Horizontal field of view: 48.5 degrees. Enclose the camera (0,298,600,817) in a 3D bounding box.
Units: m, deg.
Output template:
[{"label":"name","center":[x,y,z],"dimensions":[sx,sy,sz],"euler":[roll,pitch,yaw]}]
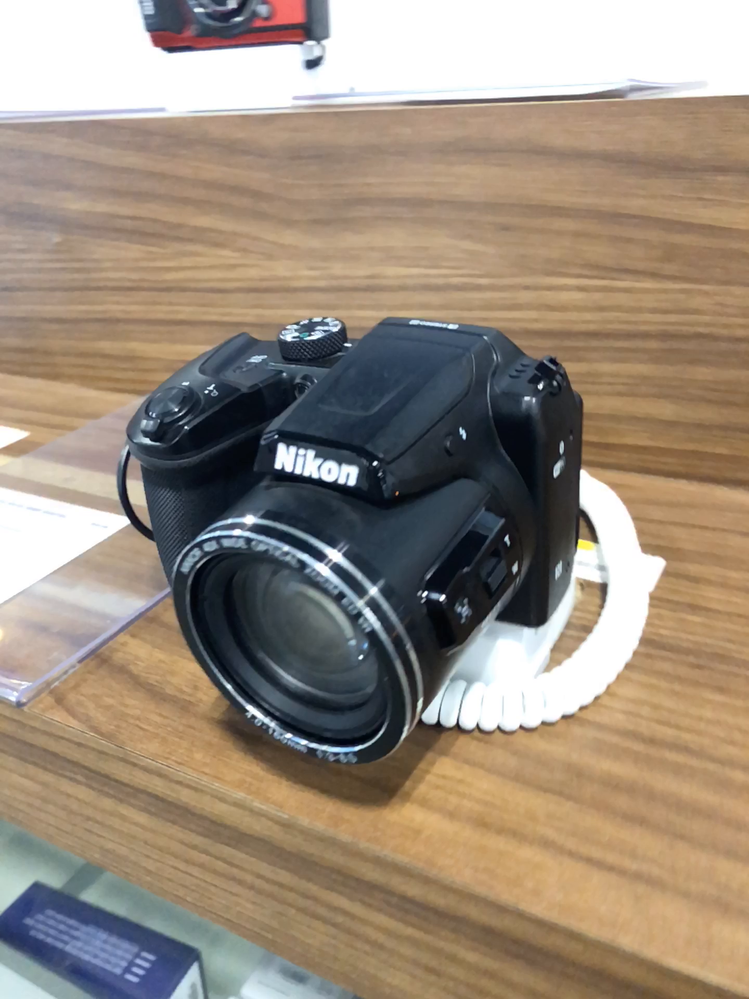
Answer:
[{"label":"camera","center":[-0.023,-0.002,0.212],"dimensions":[0.130,0.070,0.100],"euler":[11,28,26]}]
